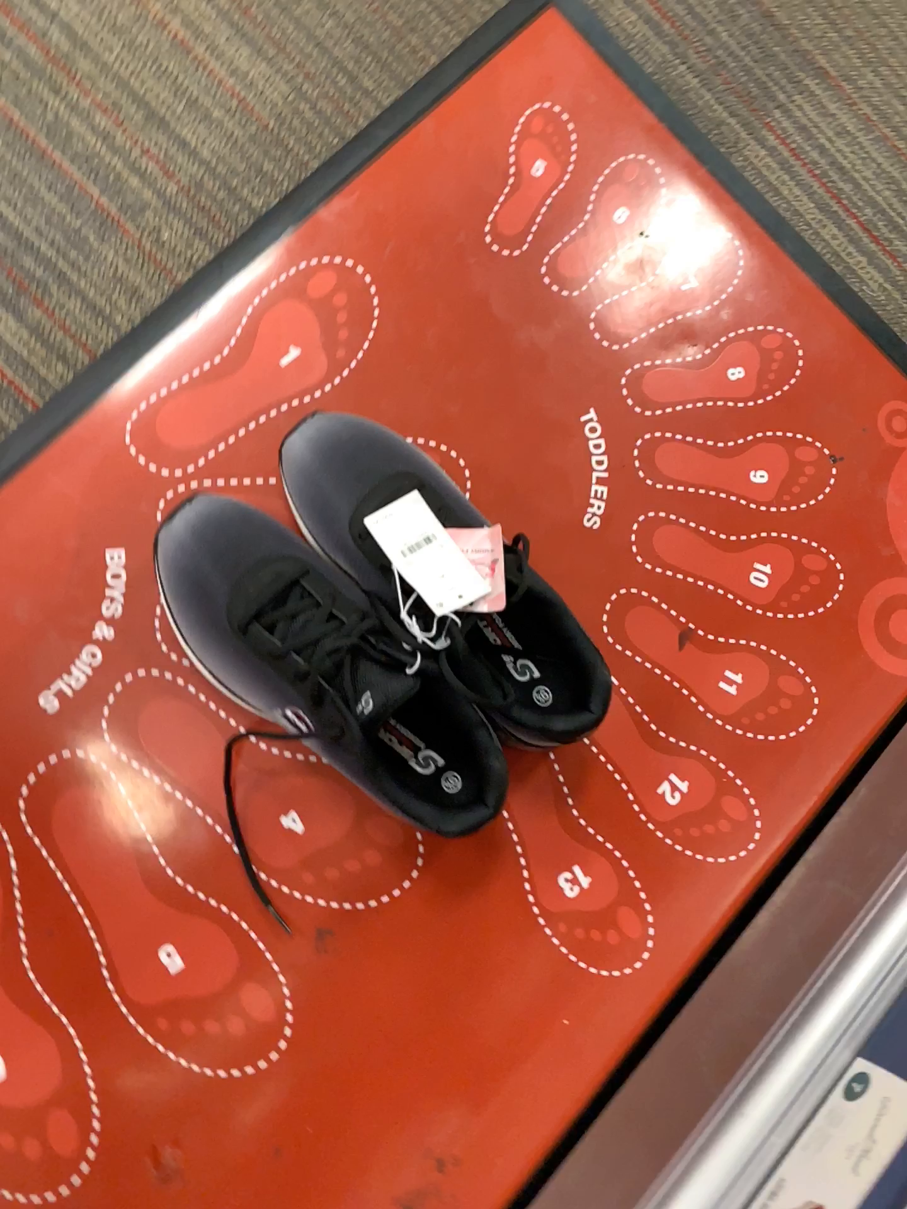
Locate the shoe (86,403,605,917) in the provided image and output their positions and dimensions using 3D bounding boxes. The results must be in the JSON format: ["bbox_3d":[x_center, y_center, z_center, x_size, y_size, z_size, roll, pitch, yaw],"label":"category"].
[{"bbox_3d":[-0.058,0.032,0.506,0.260,0.100,0.100,45,78,-3],"label":"shoe"}]

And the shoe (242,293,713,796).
[{"bbox_3d":[0.007,-0.027,0.526,0.100,0.100,0.260,-42,92,-12],"label":"shoe"}]
